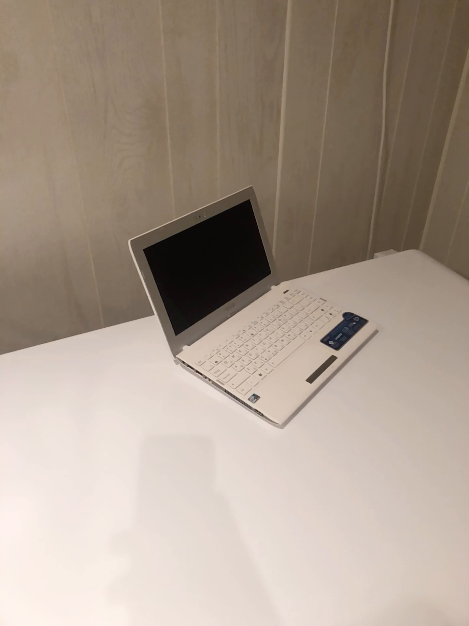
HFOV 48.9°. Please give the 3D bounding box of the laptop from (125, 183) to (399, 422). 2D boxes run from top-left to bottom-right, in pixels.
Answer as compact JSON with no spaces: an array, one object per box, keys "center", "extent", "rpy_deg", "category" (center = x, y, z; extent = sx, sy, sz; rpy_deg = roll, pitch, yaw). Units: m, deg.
[{"center":[0.045,-0.043,0.816],"extent":[0.292,0.168,0.289],"rpy_deg":[28,43,30],"category":"laptop"}]
